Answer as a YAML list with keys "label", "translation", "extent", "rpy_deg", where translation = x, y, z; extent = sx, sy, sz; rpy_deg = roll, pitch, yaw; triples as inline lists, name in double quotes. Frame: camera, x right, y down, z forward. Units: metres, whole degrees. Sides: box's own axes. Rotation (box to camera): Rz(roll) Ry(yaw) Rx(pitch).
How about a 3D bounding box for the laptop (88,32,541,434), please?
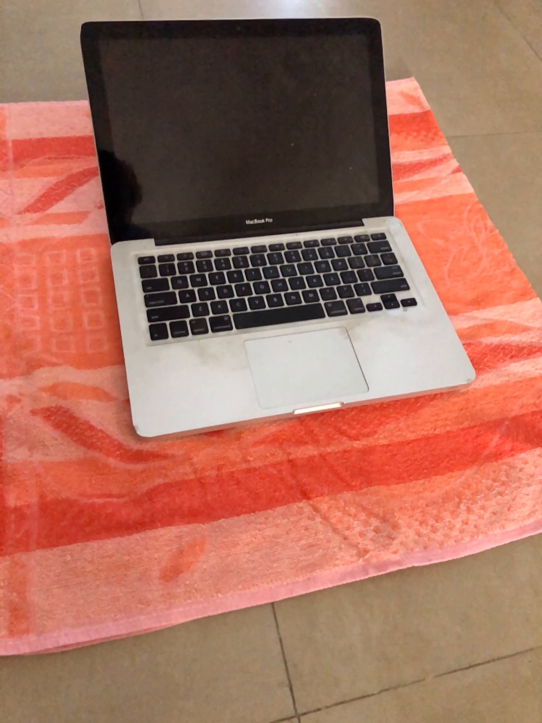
- label: "laptop"
  translation: [0.007, -0.150, 0.575]
  extent: [0.310, 0.133, 0.373]
  rpy_deg: [-8, 57, -13]
